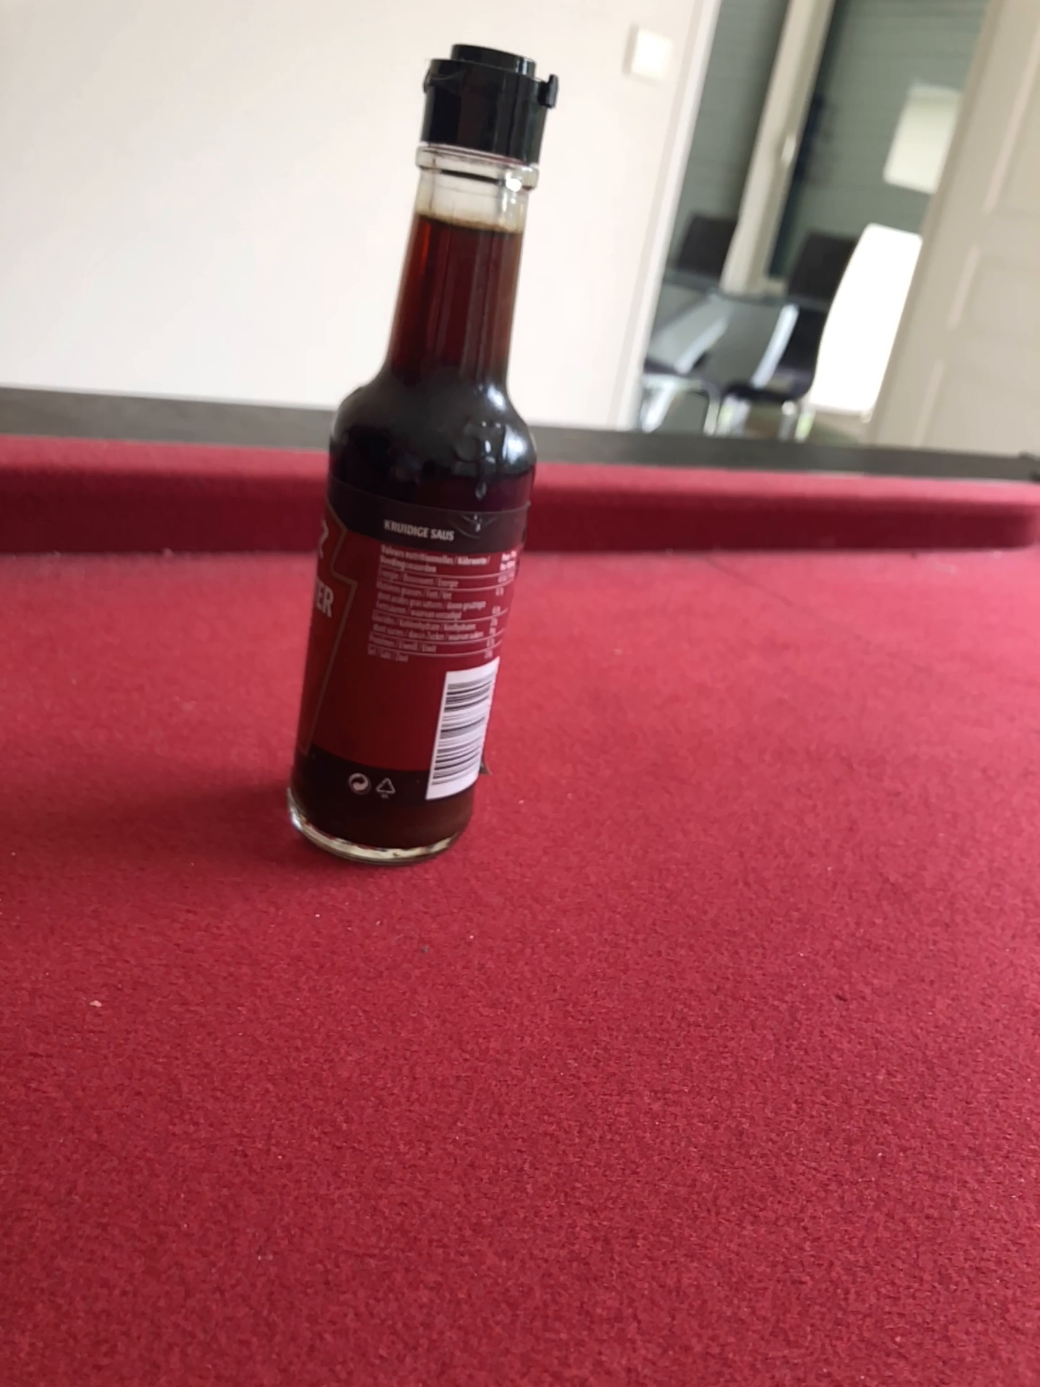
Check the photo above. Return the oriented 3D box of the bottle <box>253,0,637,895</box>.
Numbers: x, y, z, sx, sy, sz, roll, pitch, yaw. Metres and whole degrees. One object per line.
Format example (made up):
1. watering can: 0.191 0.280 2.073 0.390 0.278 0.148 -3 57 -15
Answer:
1. bottle: -0.019 -0.049 0.265 0.050 0.179 0.050 10 21 -4
